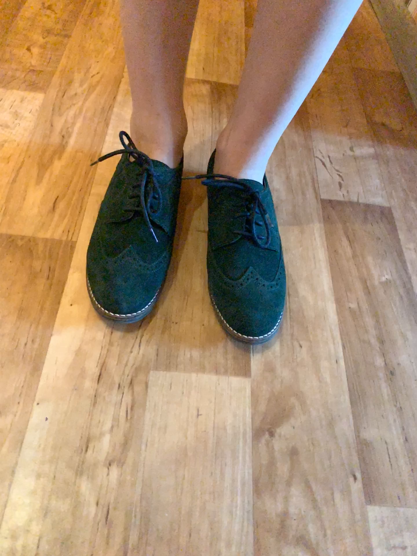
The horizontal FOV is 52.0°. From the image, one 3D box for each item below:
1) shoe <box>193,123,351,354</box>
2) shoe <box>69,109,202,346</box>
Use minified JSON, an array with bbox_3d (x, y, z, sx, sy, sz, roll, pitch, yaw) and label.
[{"bbox_3d":[0.052,-0.054,0.465,0.100,0.080,0.251,-2,57,-11],"label":"shoe"},{"bbox_3d":[-0.068,-0.067,0.471,0.090,0.080,0.261,9,55,-4],"label":"shoe"}]
